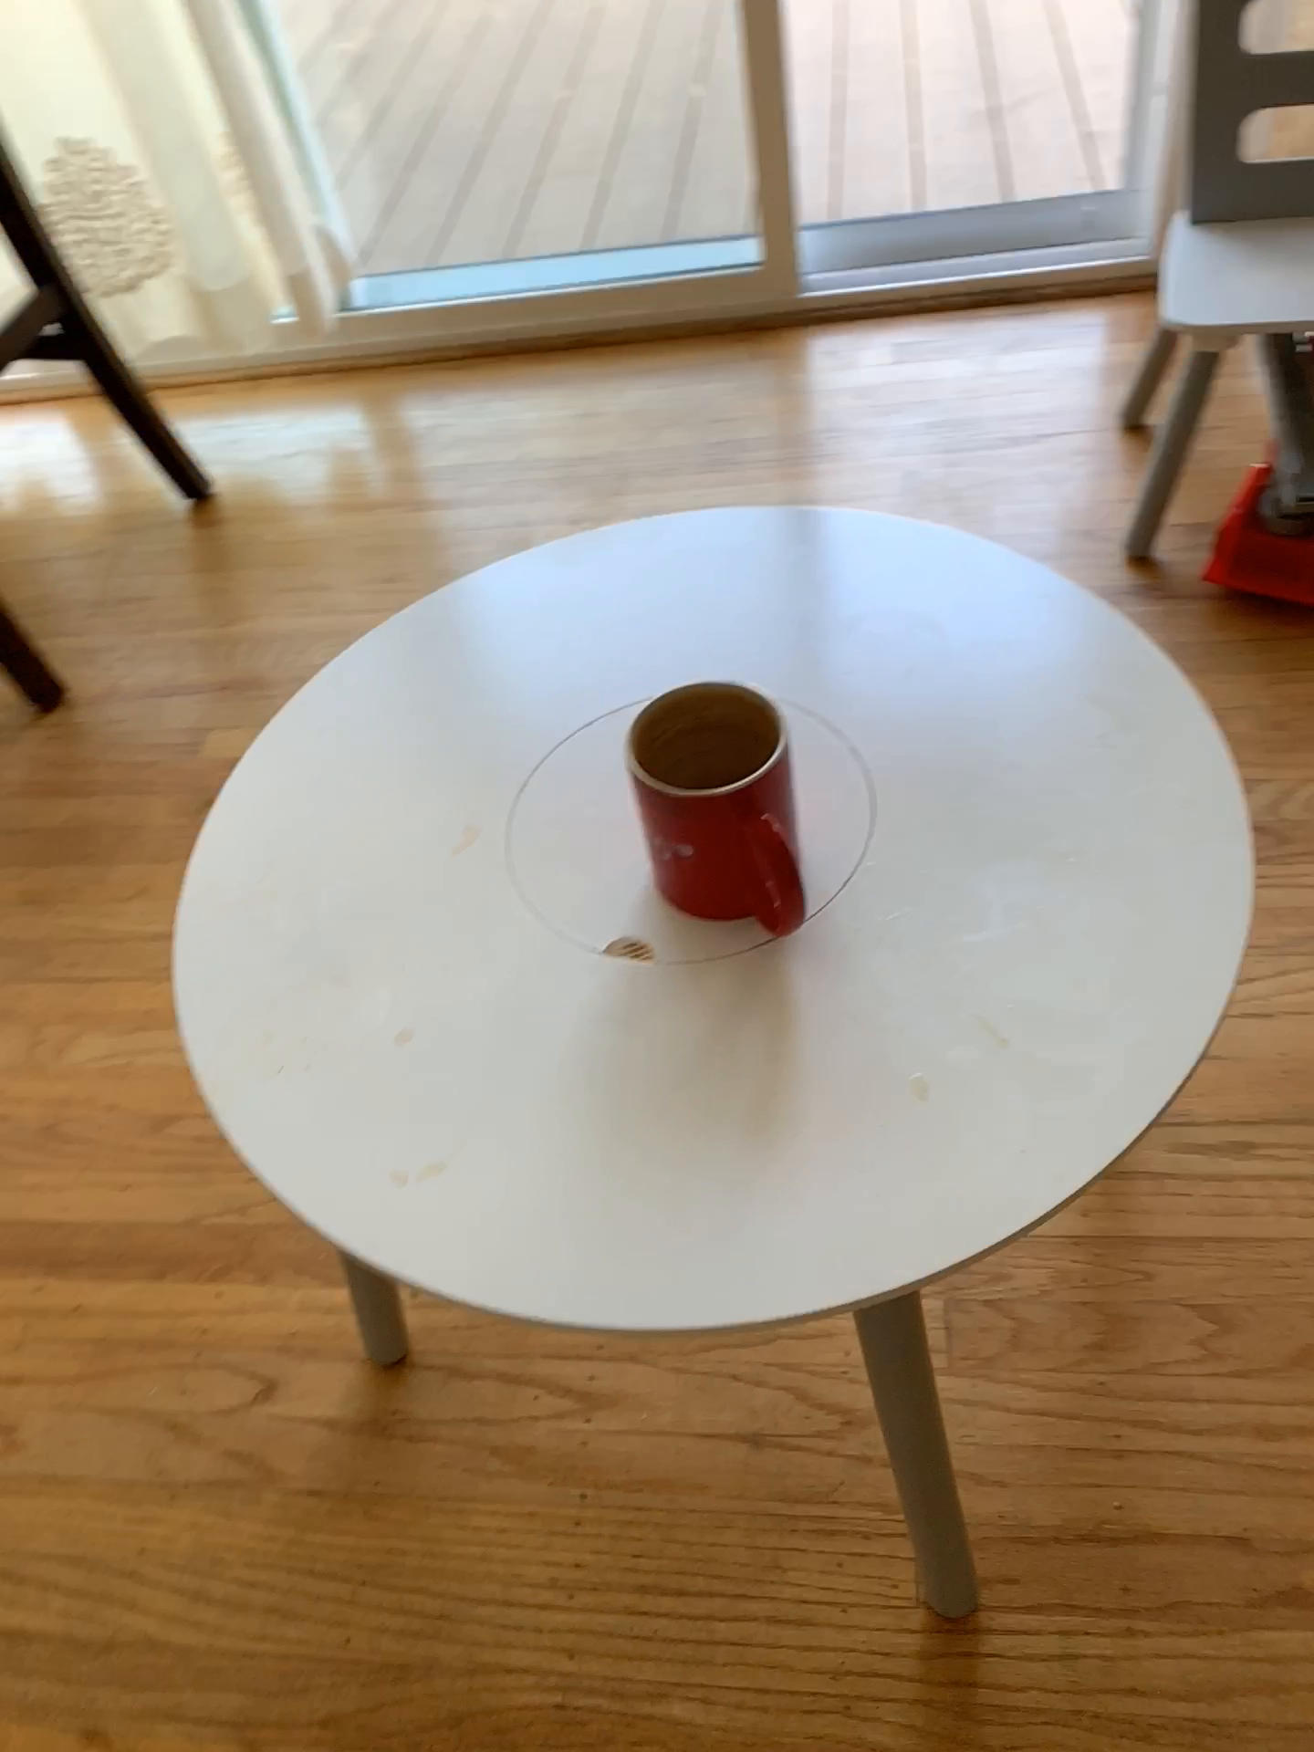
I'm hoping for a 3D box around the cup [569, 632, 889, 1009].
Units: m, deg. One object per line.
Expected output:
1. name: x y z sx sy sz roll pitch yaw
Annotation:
1. cup: 0.037 -0.032 0.700 0.090 0.100 0.151 -28 50 -12
